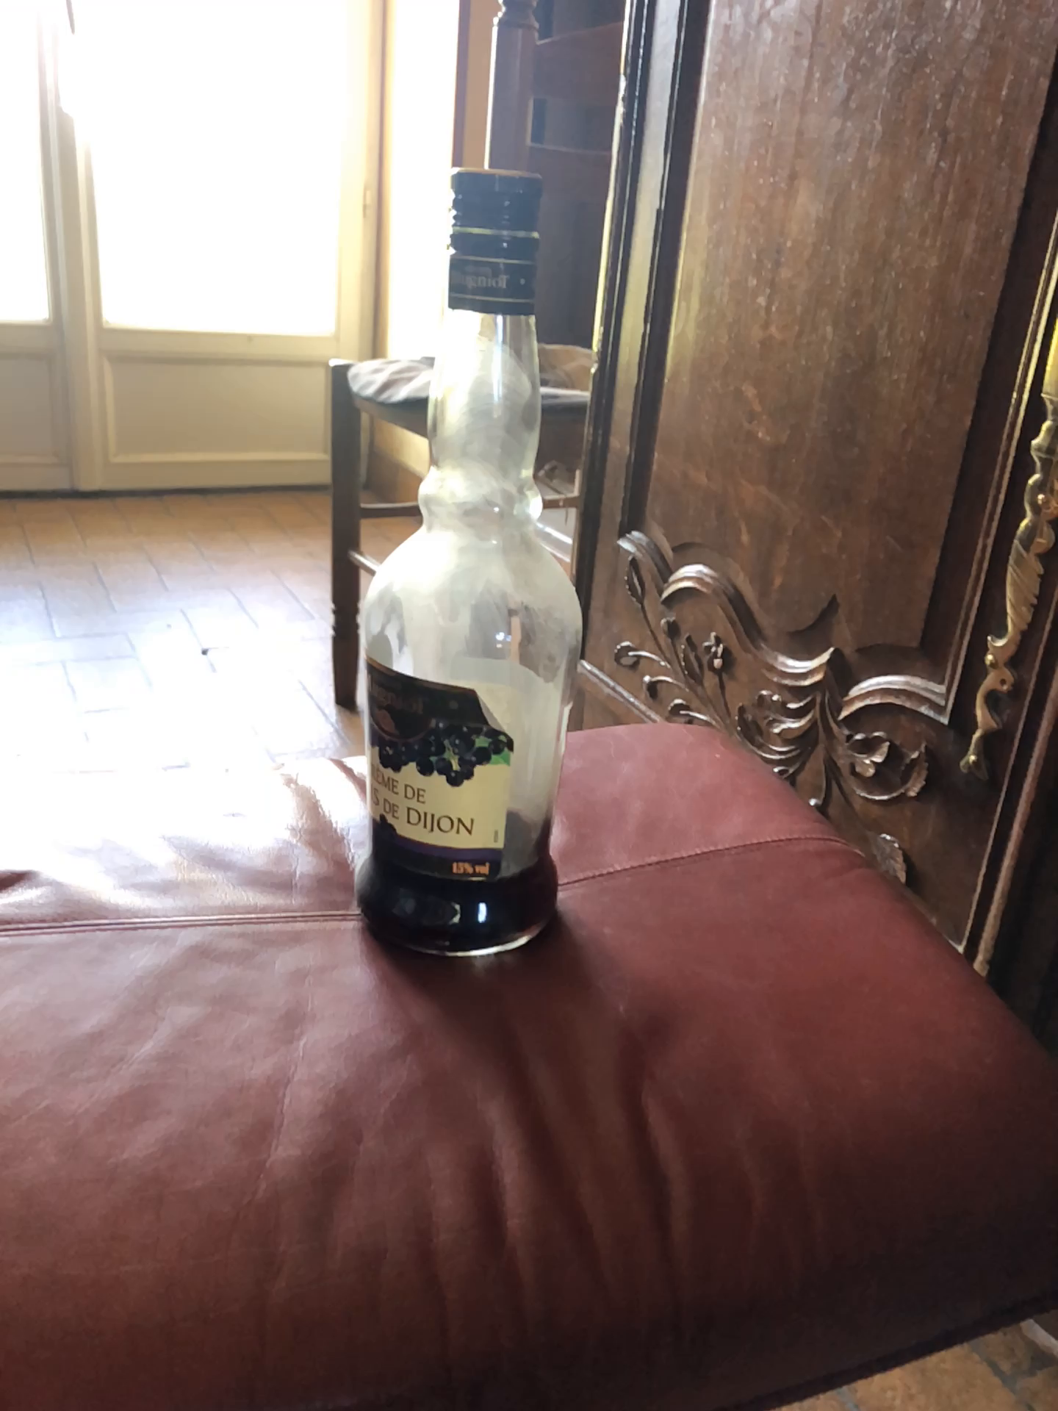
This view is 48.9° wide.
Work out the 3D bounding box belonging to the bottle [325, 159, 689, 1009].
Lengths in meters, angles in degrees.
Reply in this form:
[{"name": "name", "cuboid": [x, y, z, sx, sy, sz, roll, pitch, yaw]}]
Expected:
[{"name": "bottle", "cuboid": [-0.015, -0.041, 0.424, 0.080, 0.279, 0.080, 4, 21, -2]}]
